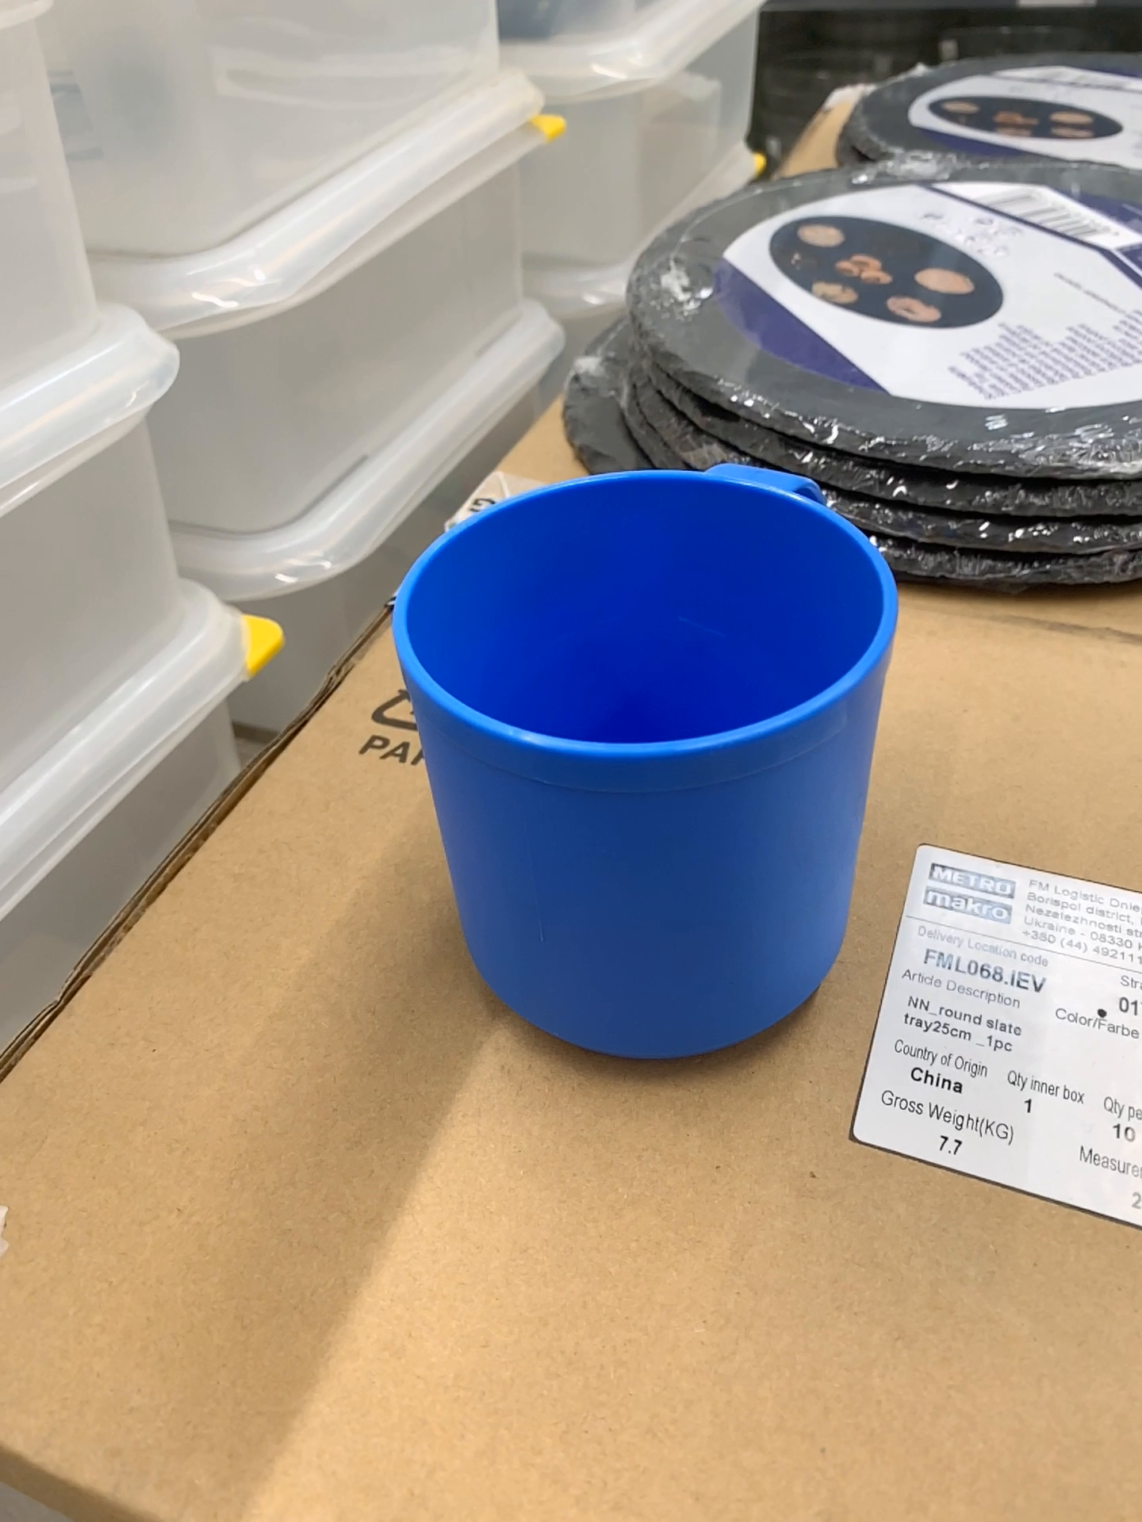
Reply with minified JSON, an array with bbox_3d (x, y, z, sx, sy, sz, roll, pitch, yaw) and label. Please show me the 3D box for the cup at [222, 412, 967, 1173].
[{"bbox_3d":[0.013,-0.003,0.224,0.089,0.071,0.110,14,45,22],"label":"cup"}]
